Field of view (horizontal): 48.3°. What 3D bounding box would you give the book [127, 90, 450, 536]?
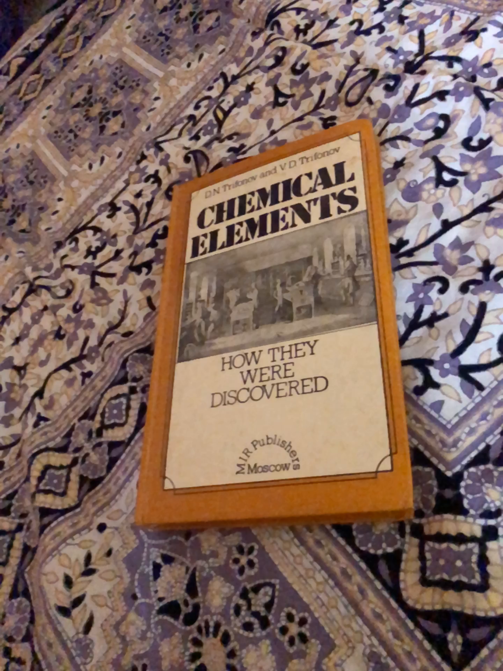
[{"bbox_3d":[0.013,-0.016,0.295,0.140,0.030,0.220,-12,60,25],"label":"book"}]
